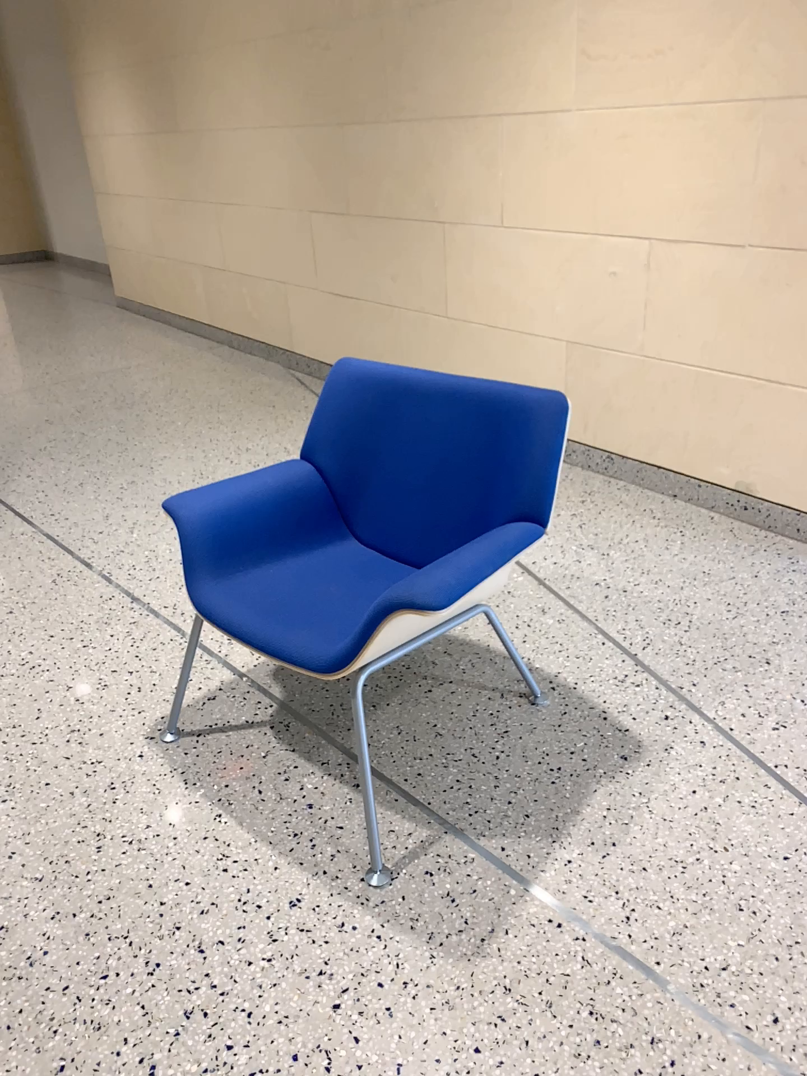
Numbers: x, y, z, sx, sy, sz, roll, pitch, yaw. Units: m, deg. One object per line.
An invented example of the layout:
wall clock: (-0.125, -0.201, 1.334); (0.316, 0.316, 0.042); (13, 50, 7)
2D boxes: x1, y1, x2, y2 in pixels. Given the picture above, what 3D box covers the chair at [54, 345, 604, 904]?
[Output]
chair: (-0.122, 0.078, 1.789); (0.781, 0.728, 0.760); (19, 35, 38)
